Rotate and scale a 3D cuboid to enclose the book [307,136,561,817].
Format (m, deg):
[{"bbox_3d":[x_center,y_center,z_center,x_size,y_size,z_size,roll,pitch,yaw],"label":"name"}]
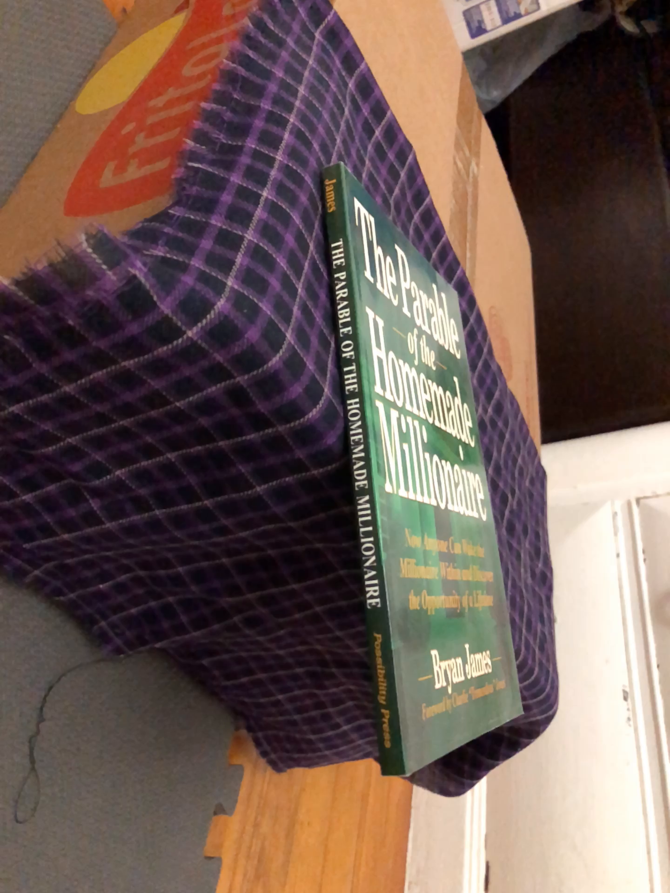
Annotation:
[{"bbox_3d":[0.047,0.013,0.298,0.161,0.020,0.210,19,62,-60],"label":"book"}]
